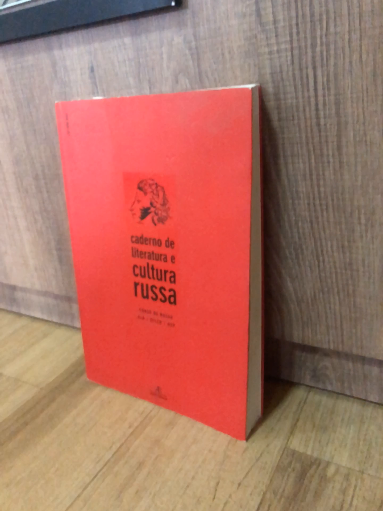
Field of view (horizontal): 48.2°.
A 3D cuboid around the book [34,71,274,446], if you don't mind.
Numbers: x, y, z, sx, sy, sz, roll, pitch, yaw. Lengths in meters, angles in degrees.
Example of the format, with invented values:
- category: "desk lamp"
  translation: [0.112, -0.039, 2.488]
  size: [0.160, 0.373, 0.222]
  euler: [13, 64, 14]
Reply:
- category: "book"
  translation: [-0.031, 0.000, 0.340]
  size: [0.187, 0.249, 0.040]
  euler: [8, 19, 33]
